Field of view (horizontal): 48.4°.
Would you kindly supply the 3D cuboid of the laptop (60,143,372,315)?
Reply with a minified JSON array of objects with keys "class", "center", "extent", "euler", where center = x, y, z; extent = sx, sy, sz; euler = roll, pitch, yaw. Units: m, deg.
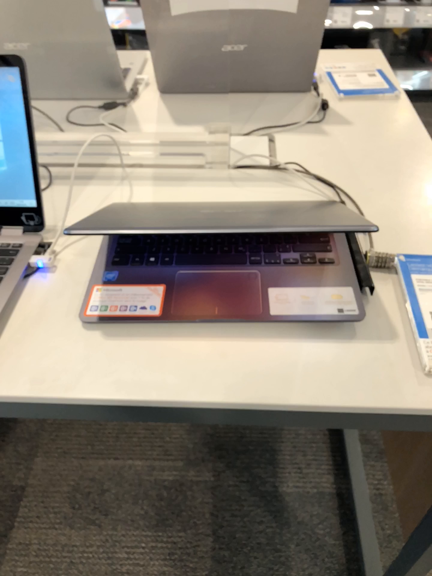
[{"class":"laptop","center":[0.001,-0.076,0.568],"extent":[0.300,0.099,0.202],"euler":[0,44,1]}]
